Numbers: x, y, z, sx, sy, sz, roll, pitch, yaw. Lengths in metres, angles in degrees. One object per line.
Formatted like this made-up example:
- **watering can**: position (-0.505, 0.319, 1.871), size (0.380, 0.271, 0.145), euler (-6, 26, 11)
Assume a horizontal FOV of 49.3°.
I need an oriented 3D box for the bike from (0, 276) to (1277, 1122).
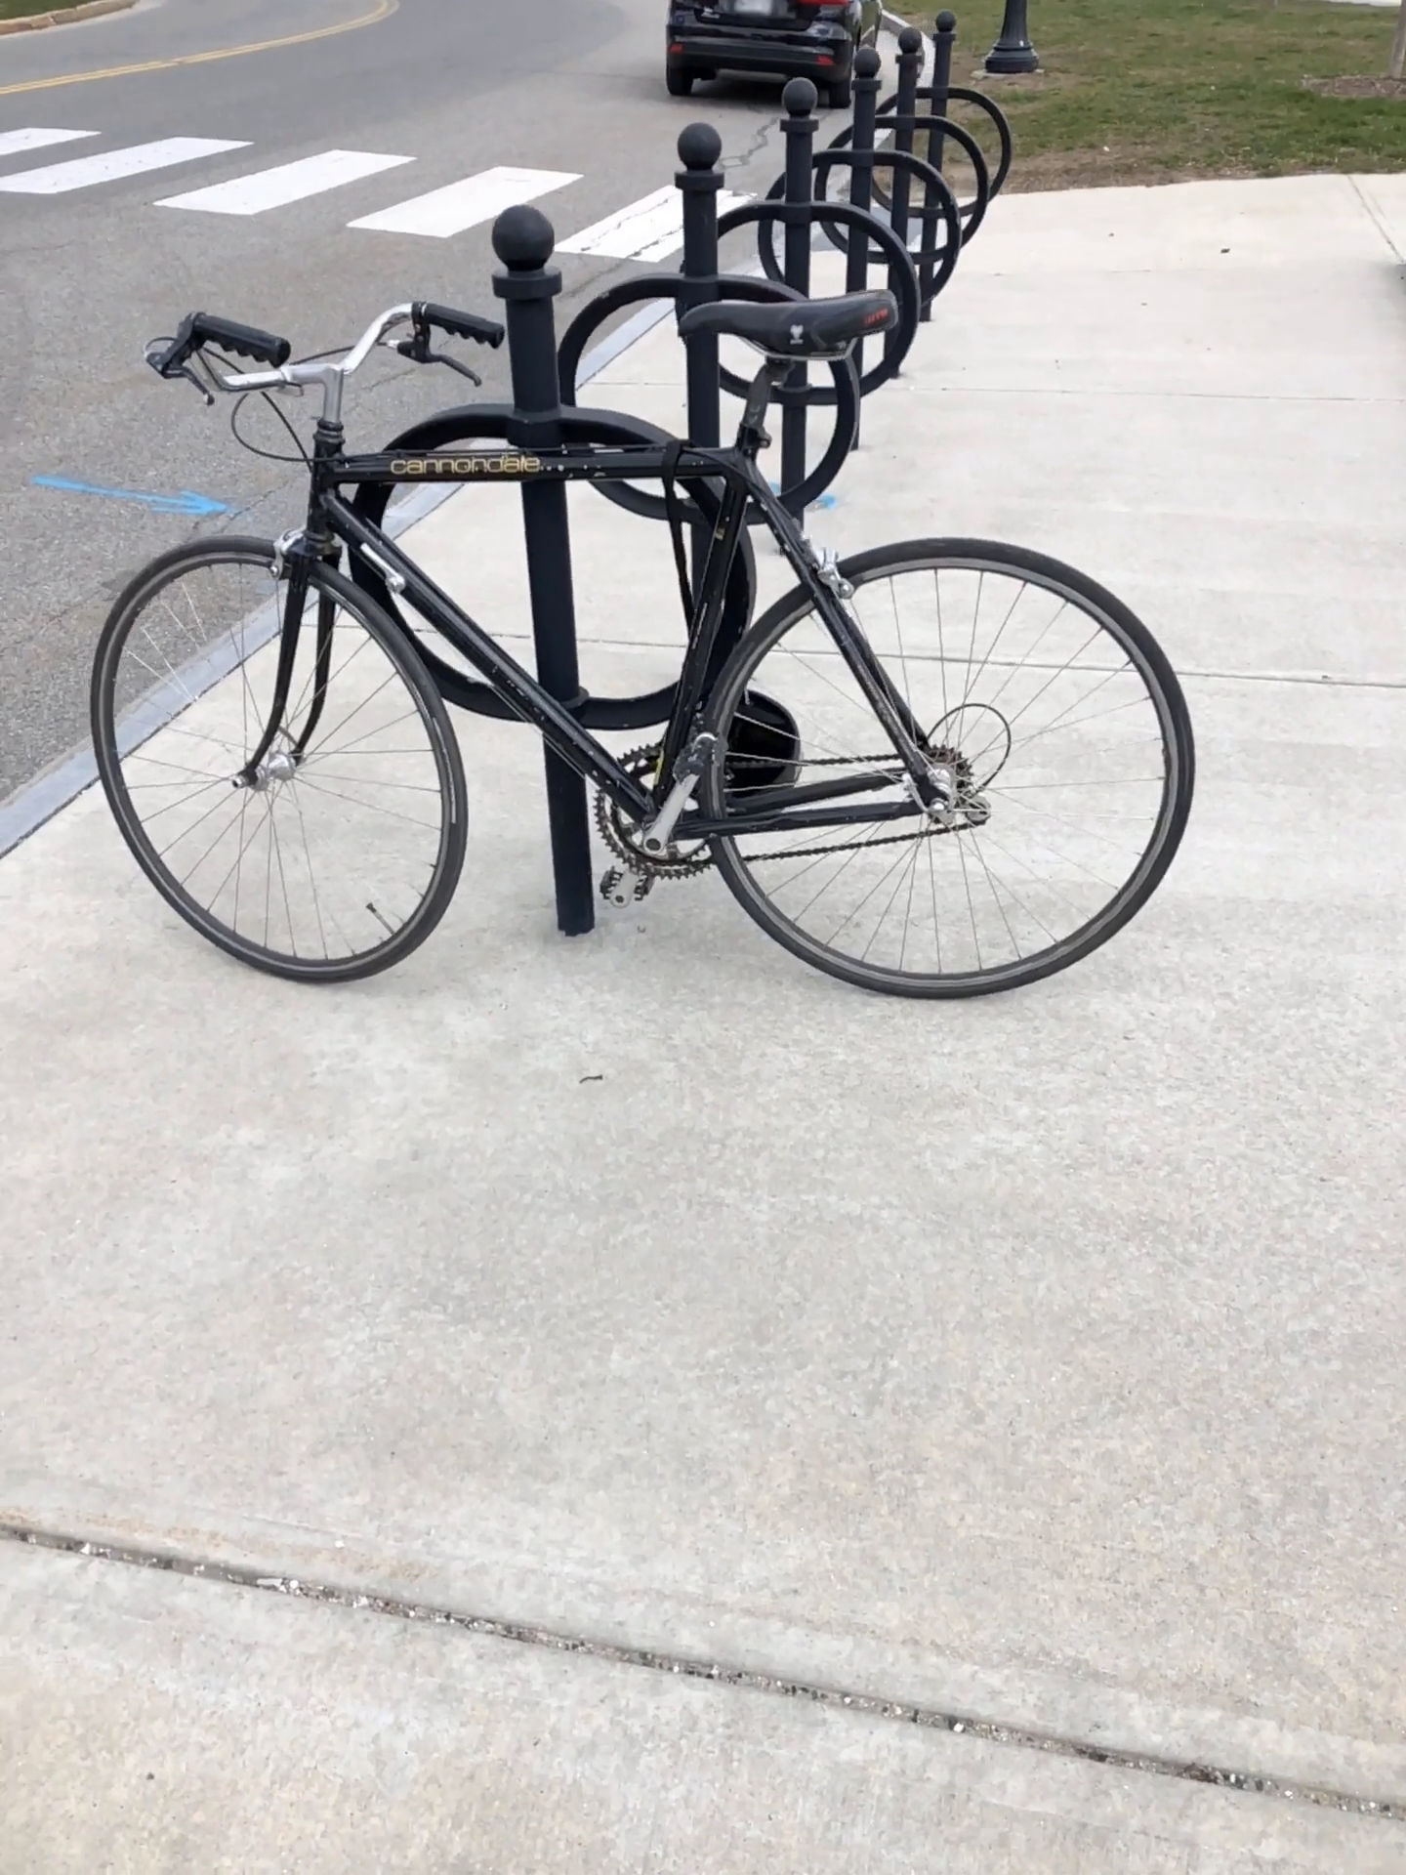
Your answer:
- **bike**: position (-0.130, -0.285, 1.848), size (1.382, 0.805, 0.488), euler (3, 34, 11)
